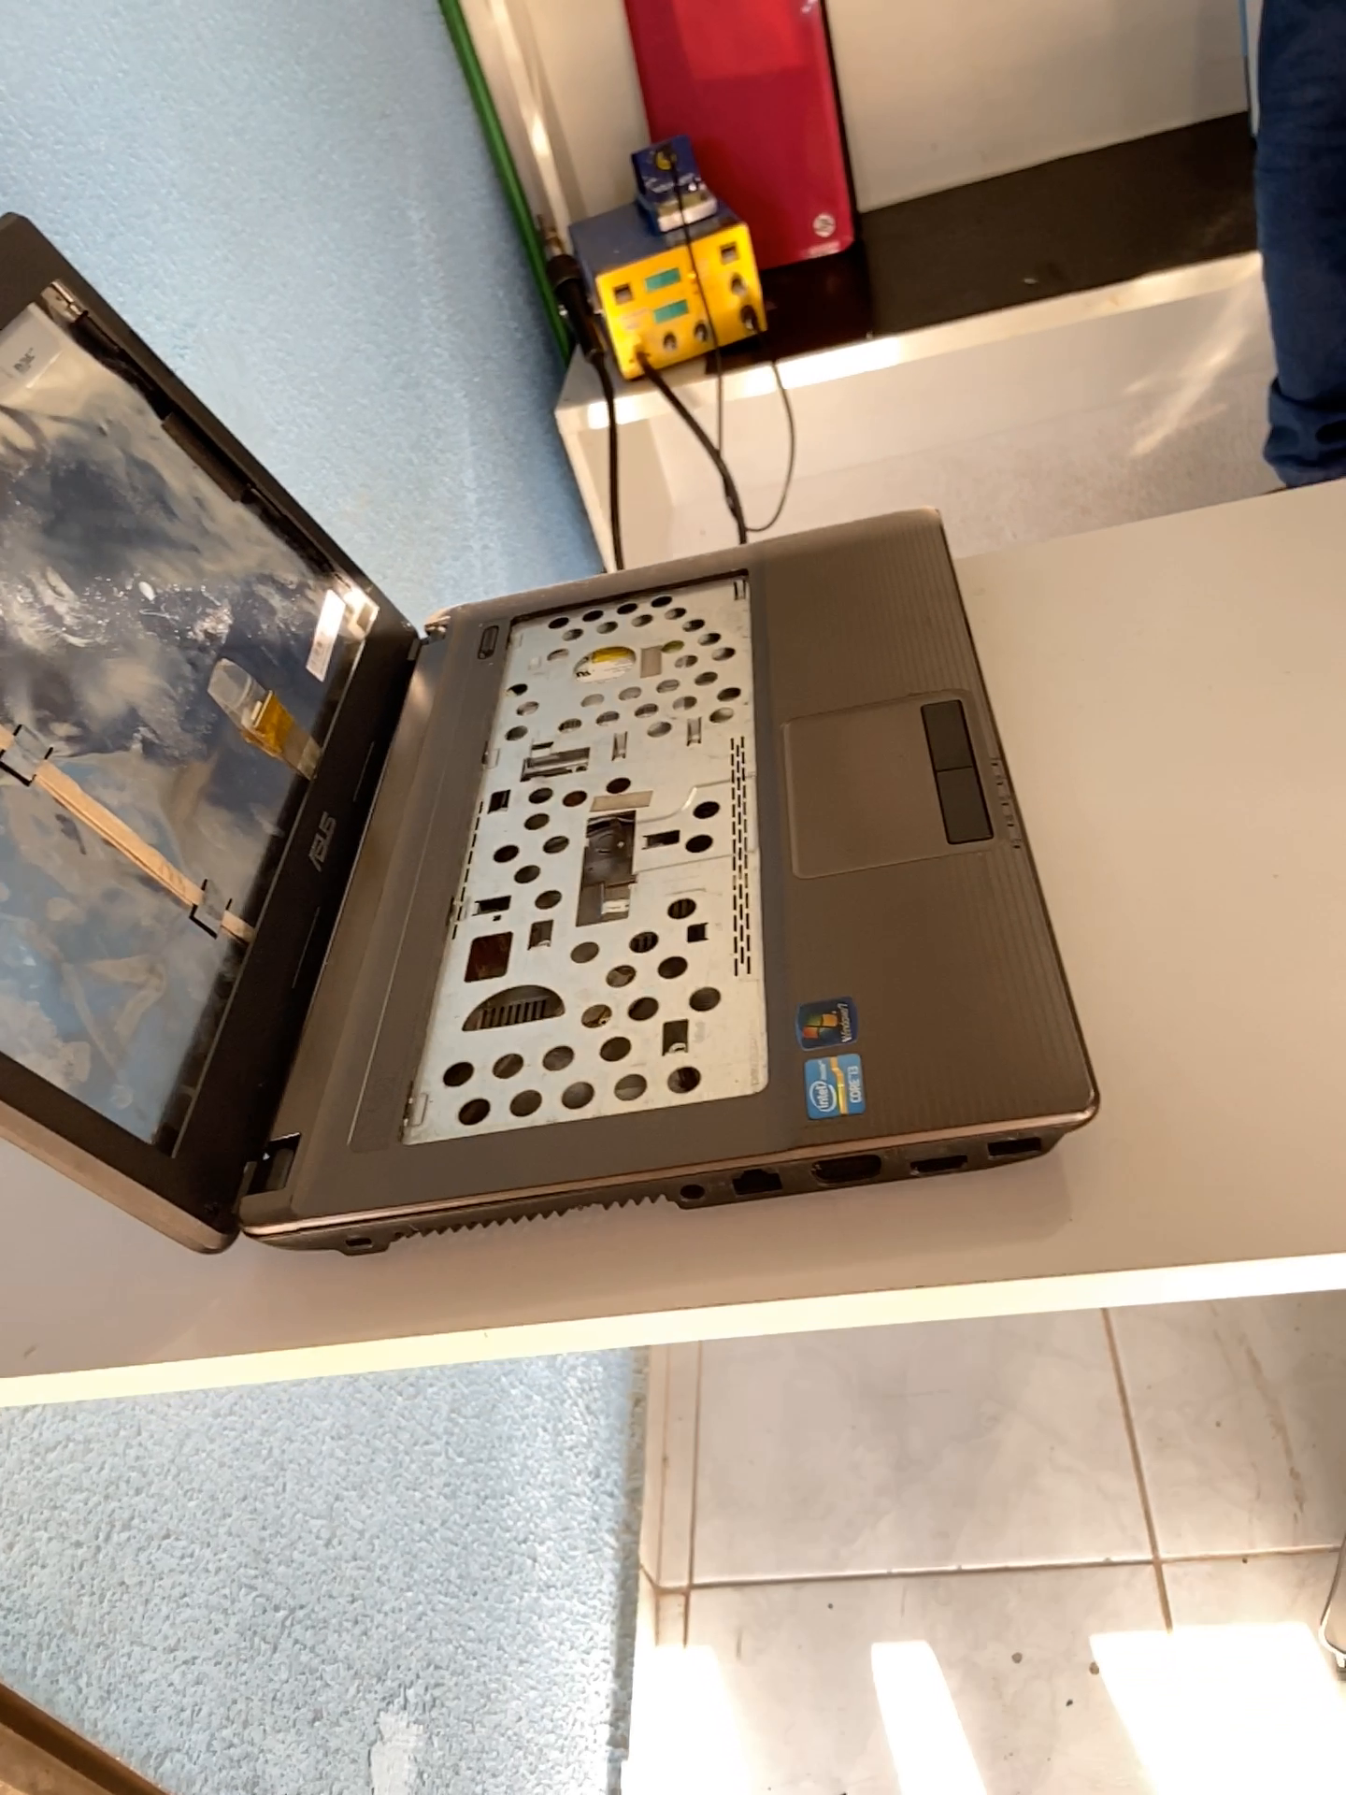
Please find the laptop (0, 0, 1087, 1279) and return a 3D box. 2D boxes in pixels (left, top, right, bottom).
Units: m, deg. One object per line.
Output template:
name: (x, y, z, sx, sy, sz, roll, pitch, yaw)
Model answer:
laptop: (-0.076, -0.104, 0.440, 0.327, 0.202, 0.338, -10, 40, 11)
